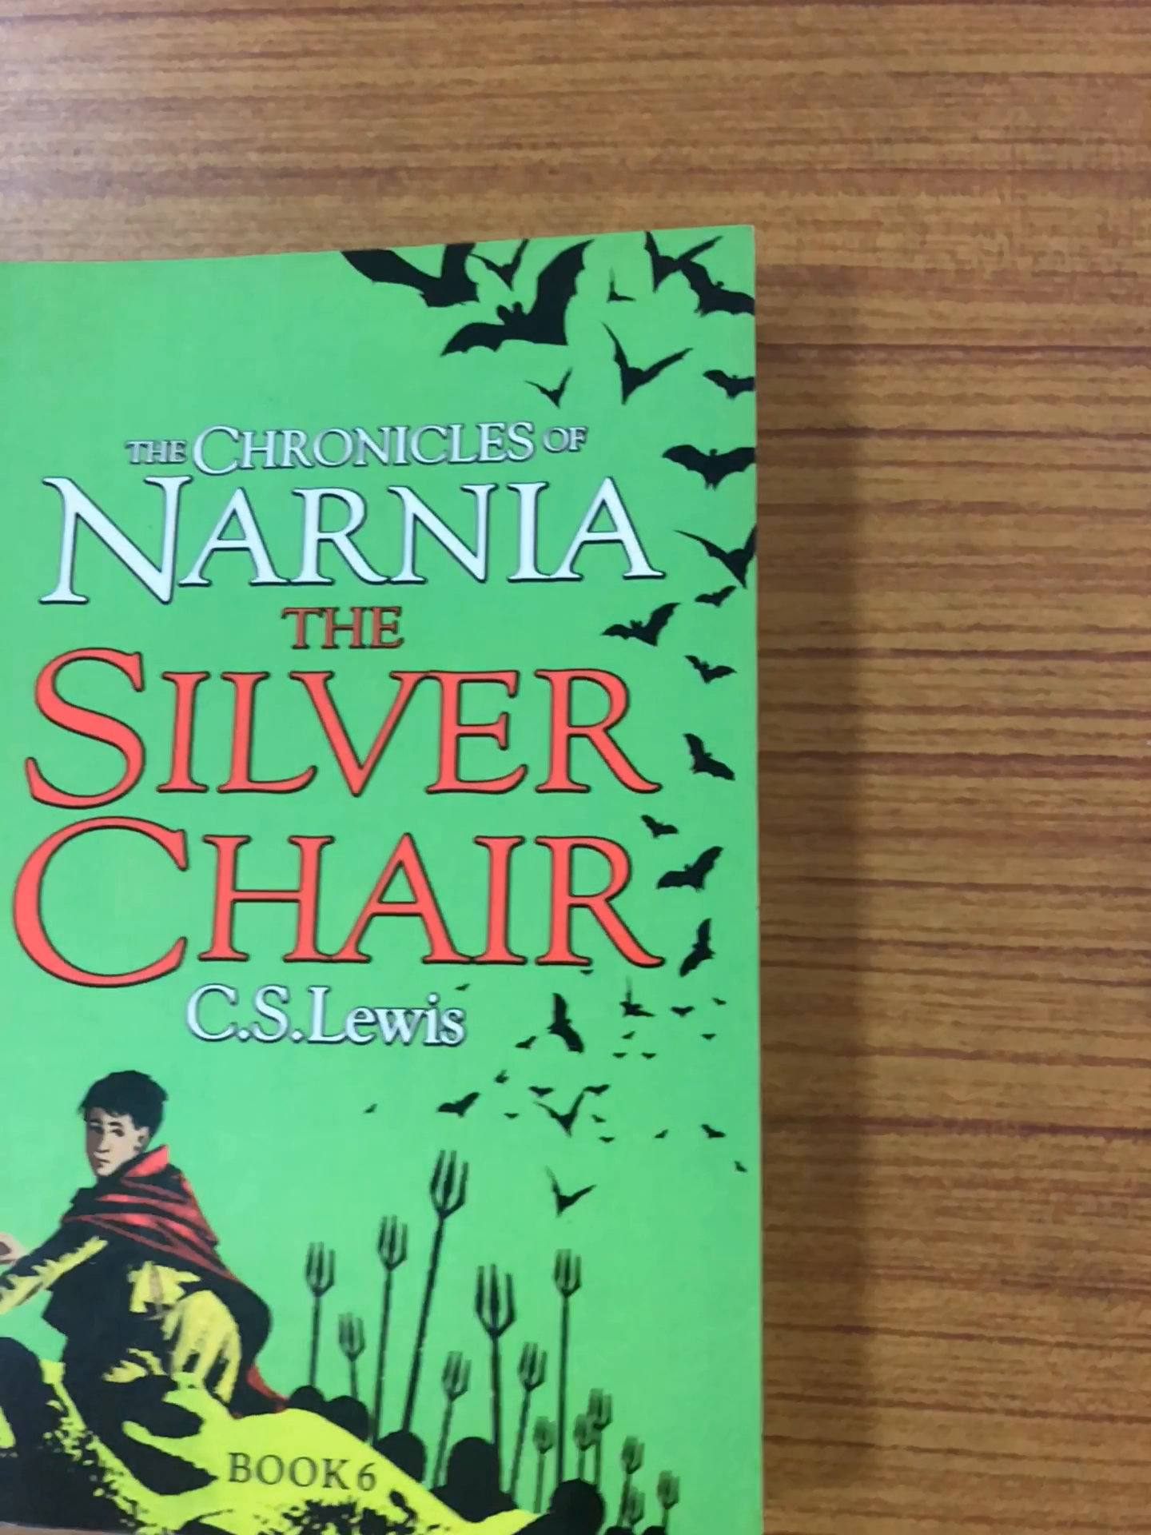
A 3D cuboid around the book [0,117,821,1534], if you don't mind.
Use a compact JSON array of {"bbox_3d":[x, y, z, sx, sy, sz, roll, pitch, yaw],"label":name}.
[{"bbox_3d":[-0.035,0.007,0.204,0.140,0.030,0.210,0,82,5],"label":"book"}]
